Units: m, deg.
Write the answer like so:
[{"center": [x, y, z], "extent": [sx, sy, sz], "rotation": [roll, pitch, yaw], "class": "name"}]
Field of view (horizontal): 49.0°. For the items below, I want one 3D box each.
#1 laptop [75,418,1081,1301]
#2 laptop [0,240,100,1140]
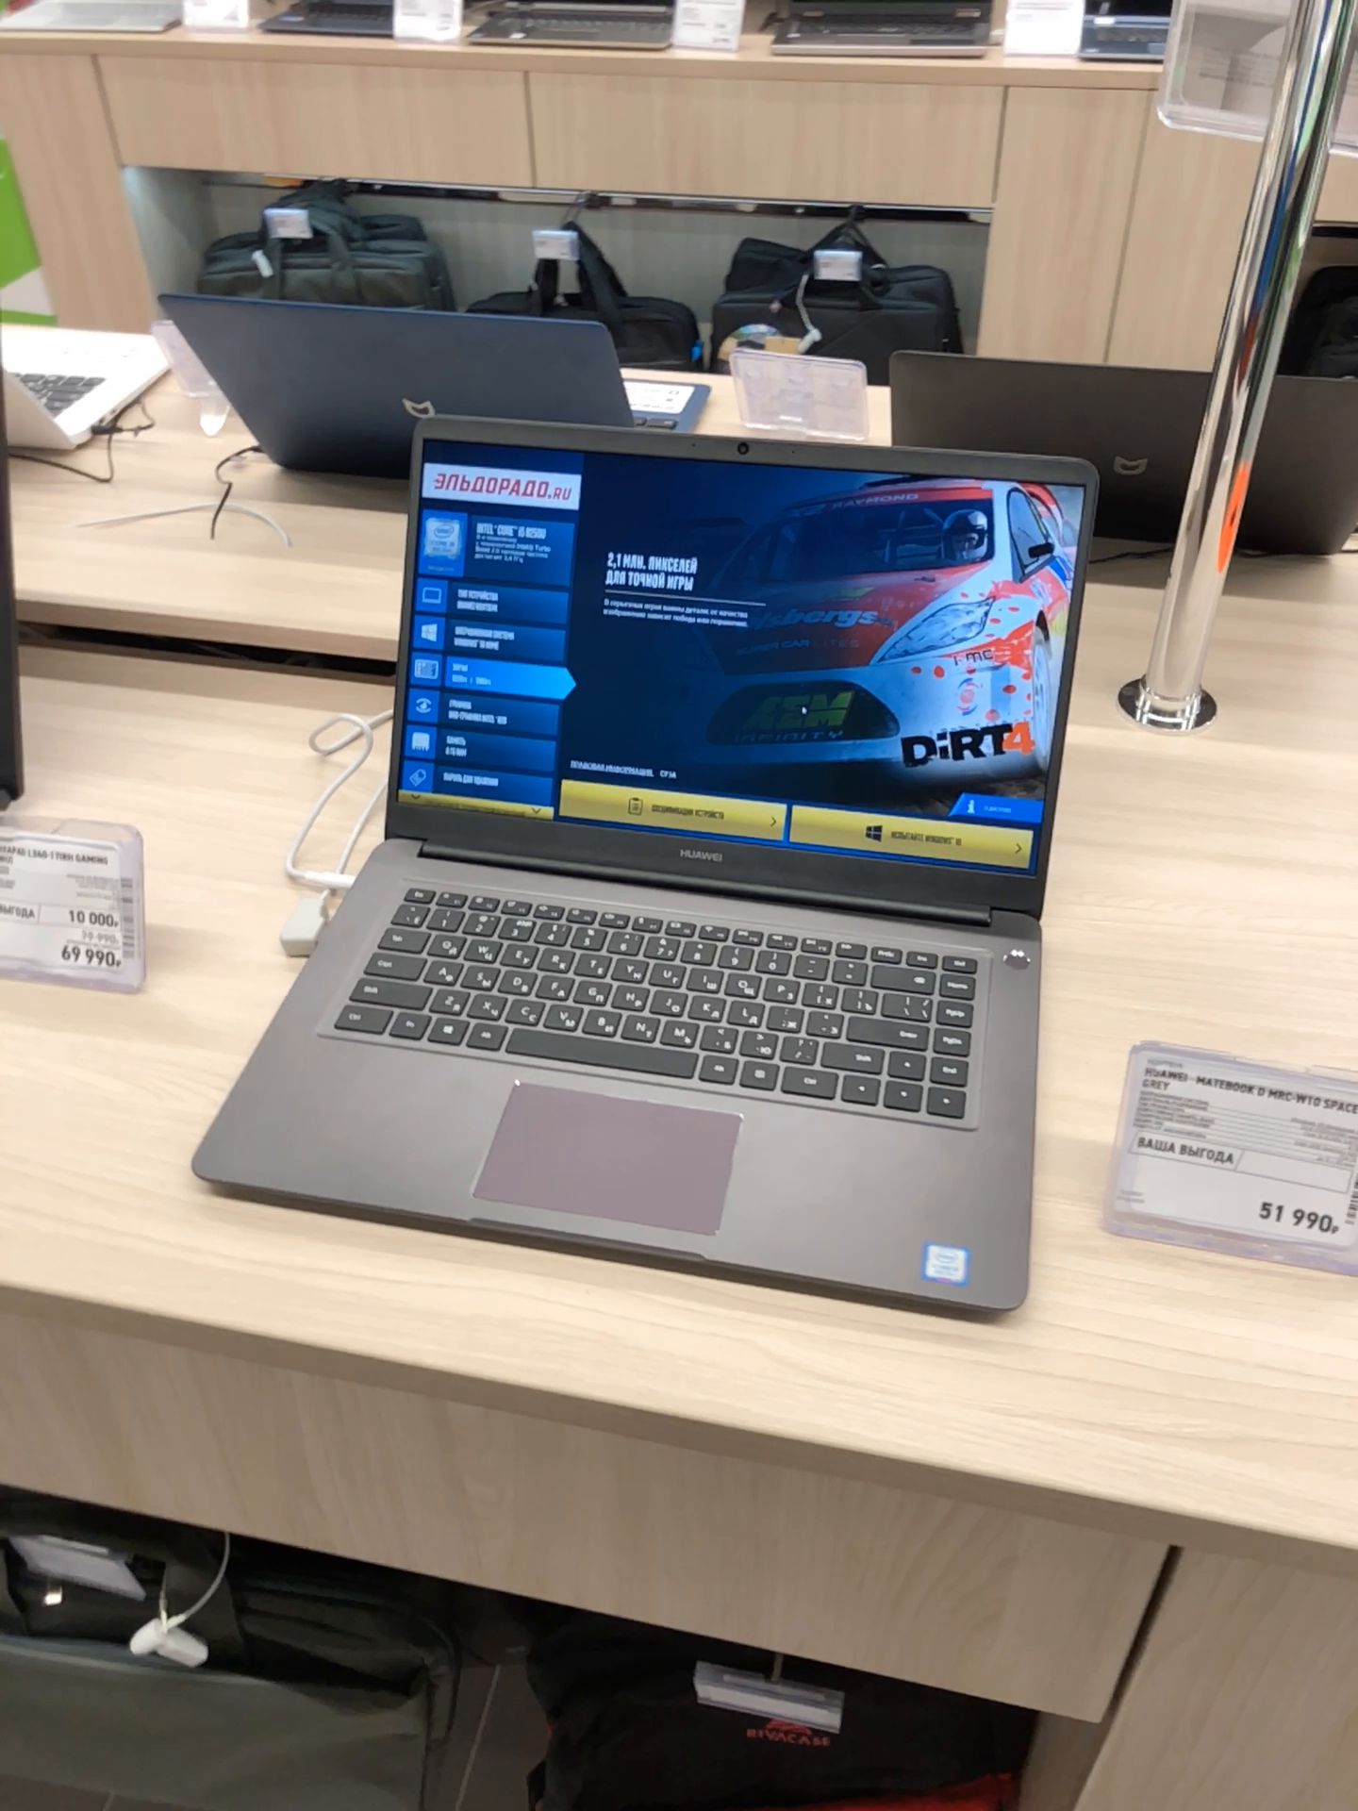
[{"center": [-0.007, -0.052, 0.683], "extent": [0.344, 0.180, 0.359], "rotation": [7, 41, 9], "class": "laptop"}, {"center": [-0.600, -0.137, 0.739], "extent": [0.392, 0.242, 0.380], "rotation": [9, 41, 11], "class": "laptop"}]
